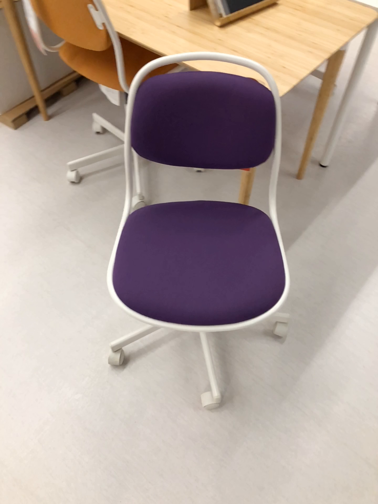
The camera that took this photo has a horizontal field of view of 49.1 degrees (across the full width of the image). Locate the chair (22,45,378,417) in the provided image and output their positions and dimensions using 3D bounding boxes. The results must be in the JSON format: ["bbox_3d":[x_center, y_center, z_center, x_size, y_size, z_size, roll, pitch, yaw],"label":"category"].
[{"bbox_3d":[0.064,-0.009,1.154,0.620,0.776,0.664,3,54,2],"label":"chair"}]
